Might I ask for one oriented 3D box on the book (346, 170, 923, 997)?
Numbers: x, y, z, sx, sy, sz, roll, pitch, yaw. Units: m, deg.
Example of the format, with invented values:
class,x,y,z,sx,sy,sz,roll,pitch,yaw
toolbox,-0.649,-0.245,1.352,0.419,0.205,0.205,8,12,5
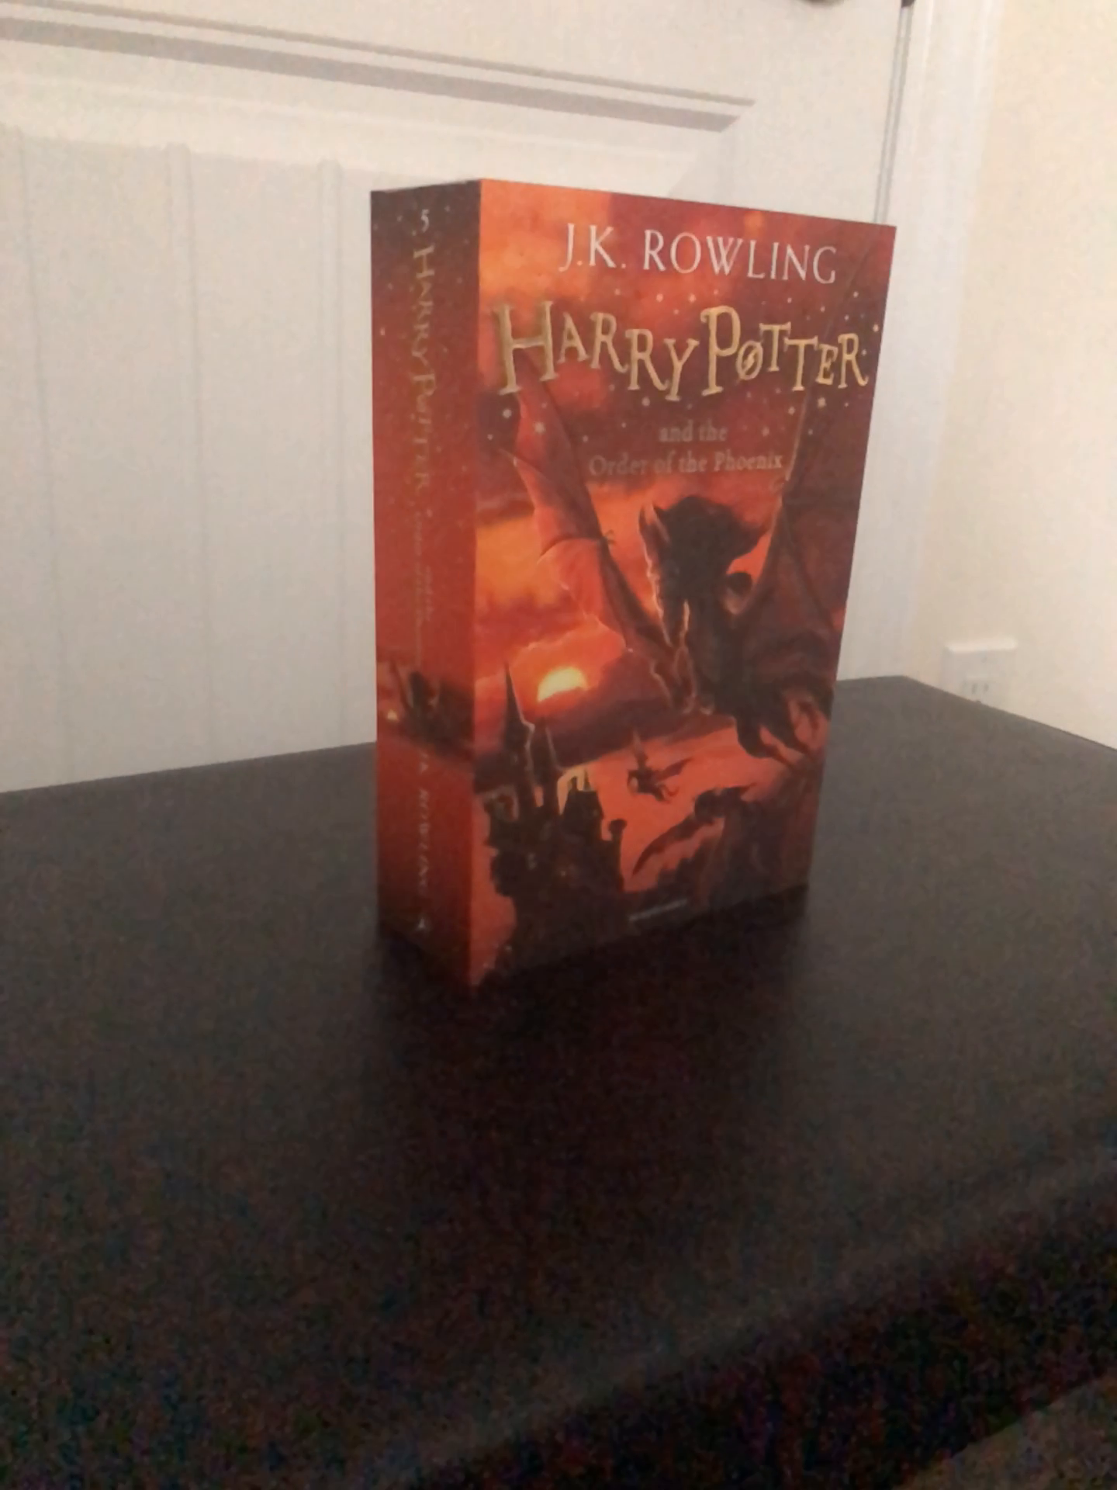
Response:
class,x,y,z,sx,sy,sz,roll,pitch,yaw
book,0.019,-0.047,0.344,0.141,0.189,0.061,-11,24,-36
